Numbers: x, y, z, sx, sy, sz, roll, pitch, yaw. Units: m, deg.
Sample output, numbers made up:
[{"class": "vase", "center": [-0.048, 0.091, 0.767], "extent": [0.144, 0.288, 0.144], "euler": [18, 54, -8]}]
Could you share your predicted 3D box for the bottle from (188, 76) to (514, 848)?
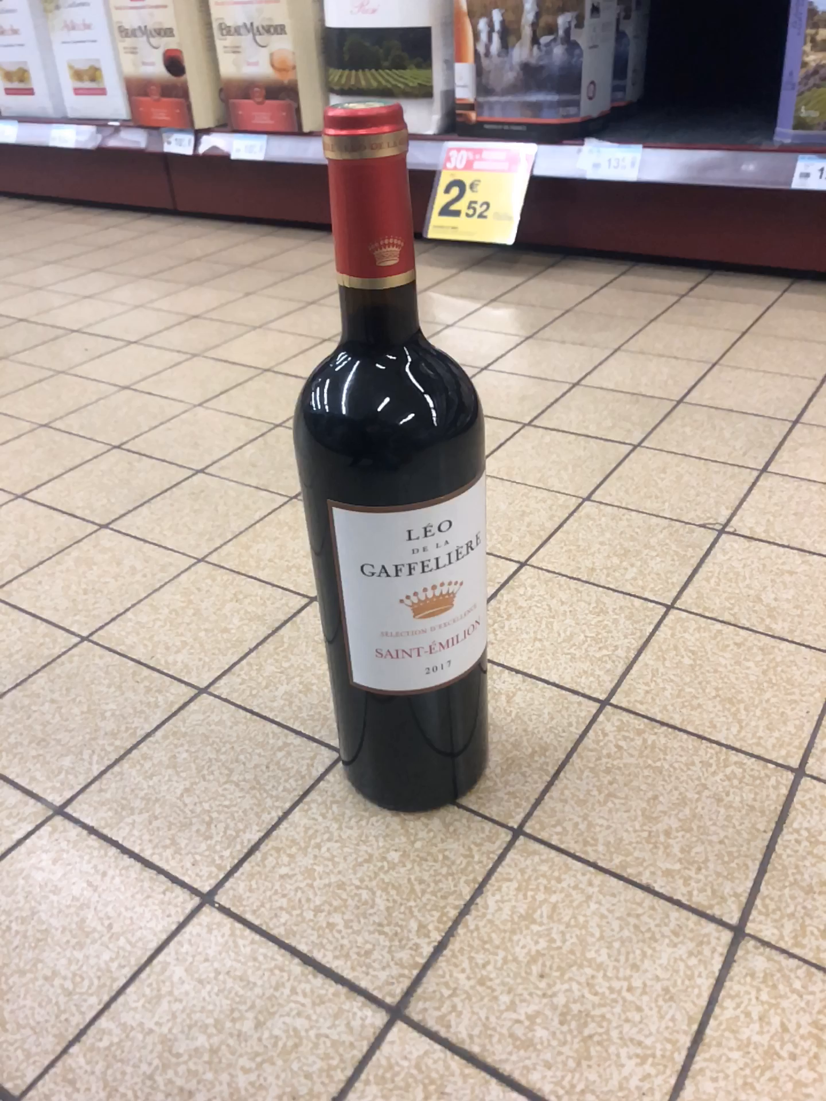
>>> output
[{"class": "bottle", "center": [-0.018, -0.023, 0.365], "extent": [0.090, 0.287, 0.090], "euler": [-3, 31, 2]}]
